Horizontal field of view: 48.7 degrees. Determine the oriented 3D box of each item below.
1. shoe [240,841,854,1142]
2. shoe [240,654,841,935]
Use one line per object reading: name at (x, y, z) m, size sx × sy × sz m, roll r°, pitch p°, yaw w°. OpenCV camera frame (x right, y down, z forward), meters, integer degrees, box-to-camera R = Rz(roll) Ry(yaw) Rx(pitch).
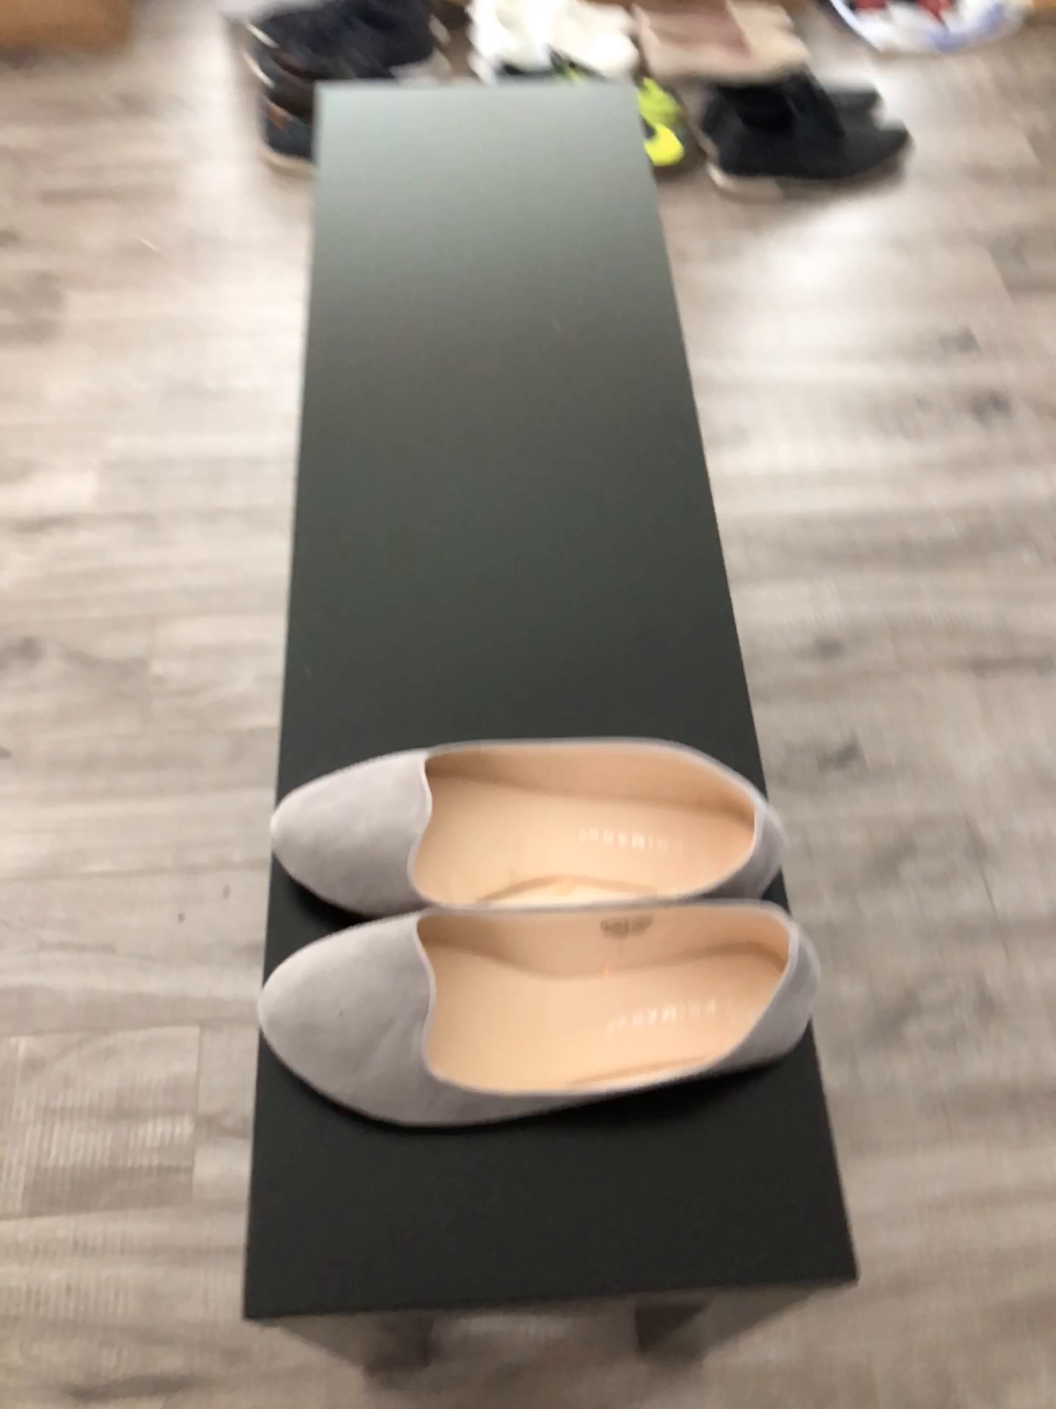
shoe at (0.005, 0.128, 0.525) m, size 0.250 × 0.060 × 0.100 m, roll -3°, pitch 58°, yaw -3°
shoe at (0.004, 0.044, 0.555) m, size 0.253 × 0.090 × 0.100 m, roll 0°, pitch 58°, yaw -2°
